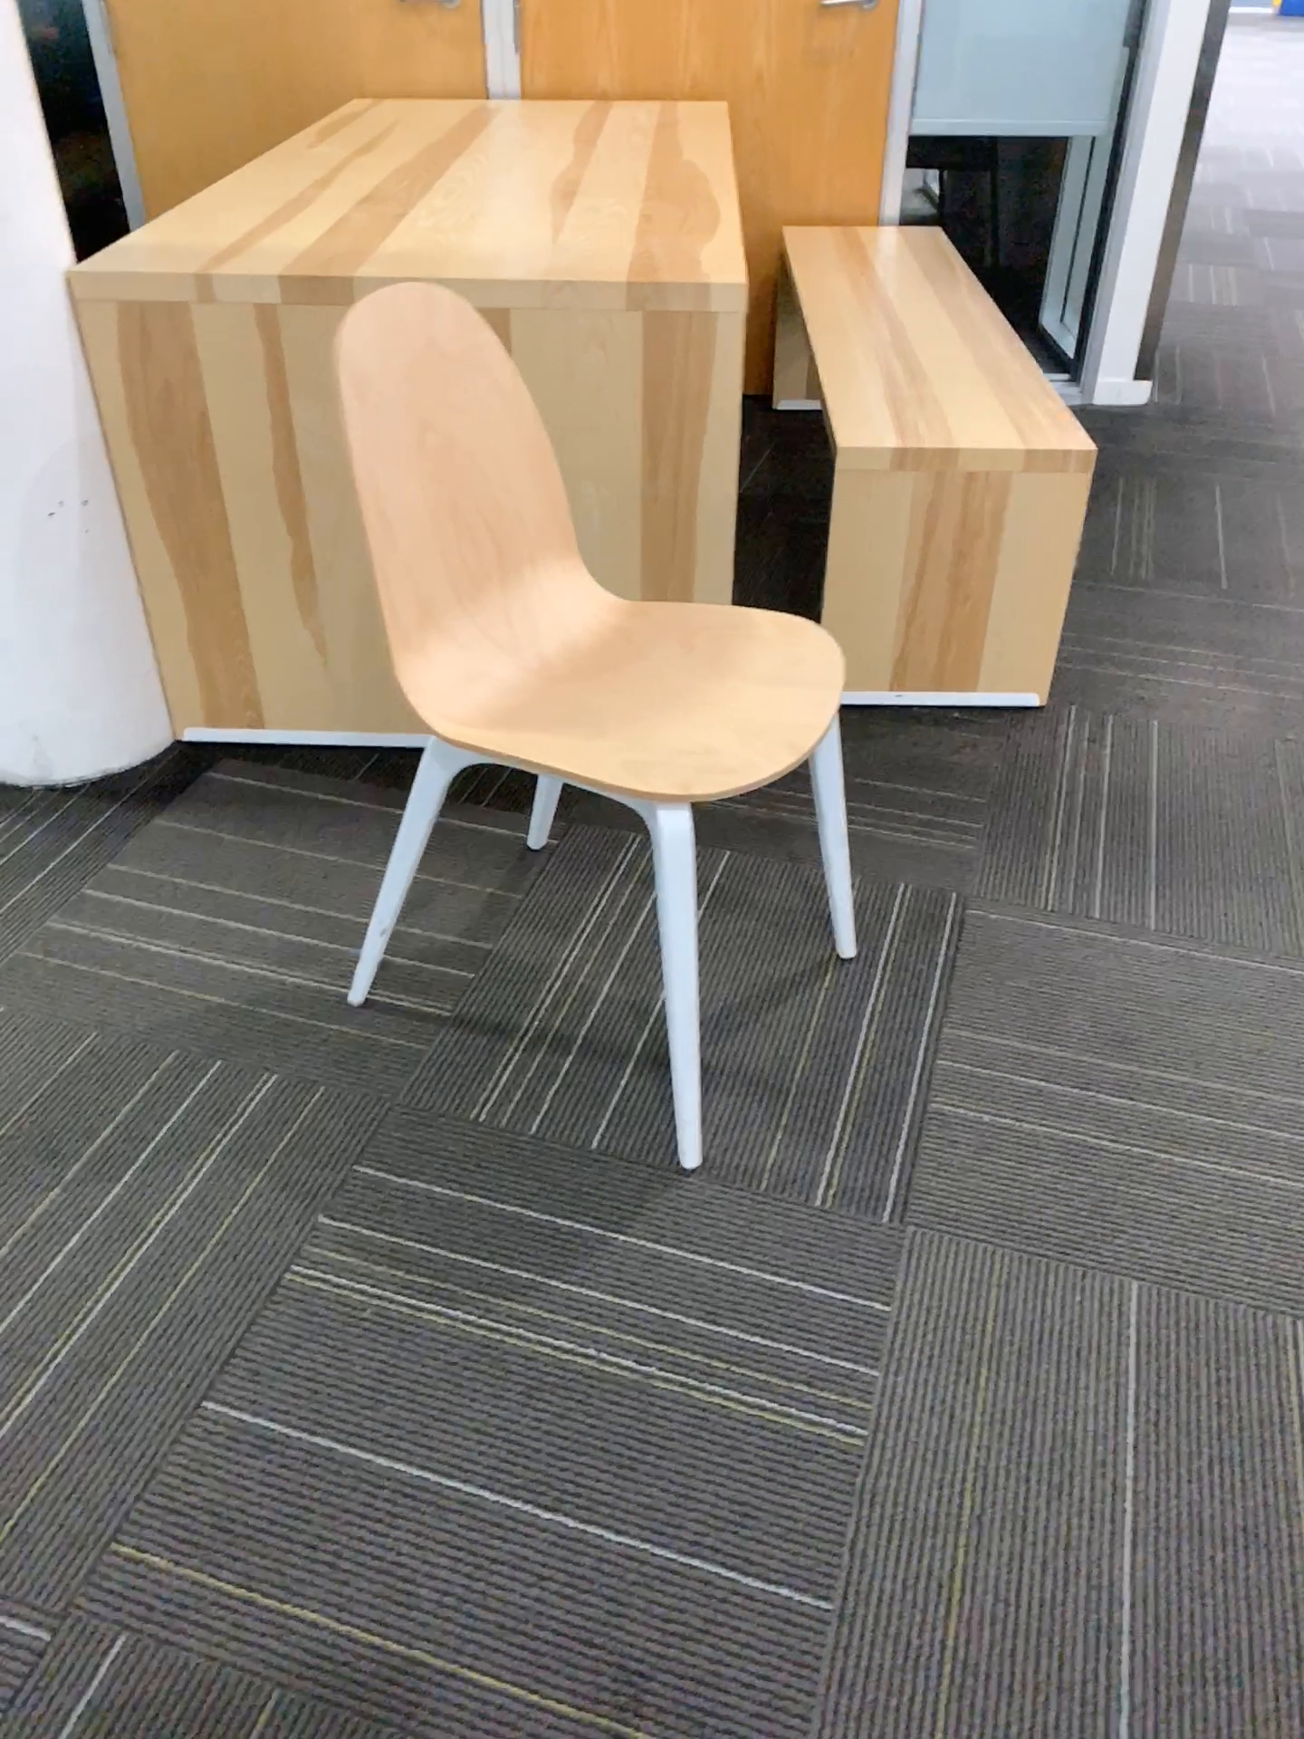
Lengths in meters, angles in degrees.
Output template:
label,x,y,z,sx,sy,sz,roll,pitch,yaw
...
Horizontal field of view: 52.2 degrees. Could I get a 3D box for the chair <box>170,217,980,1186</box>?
label,x,y,z,sx,sy,sz,roll,pitch,yaw
chair,-0.050,-0.213,1.499,0.561,0.815,0.552,19,40,23
